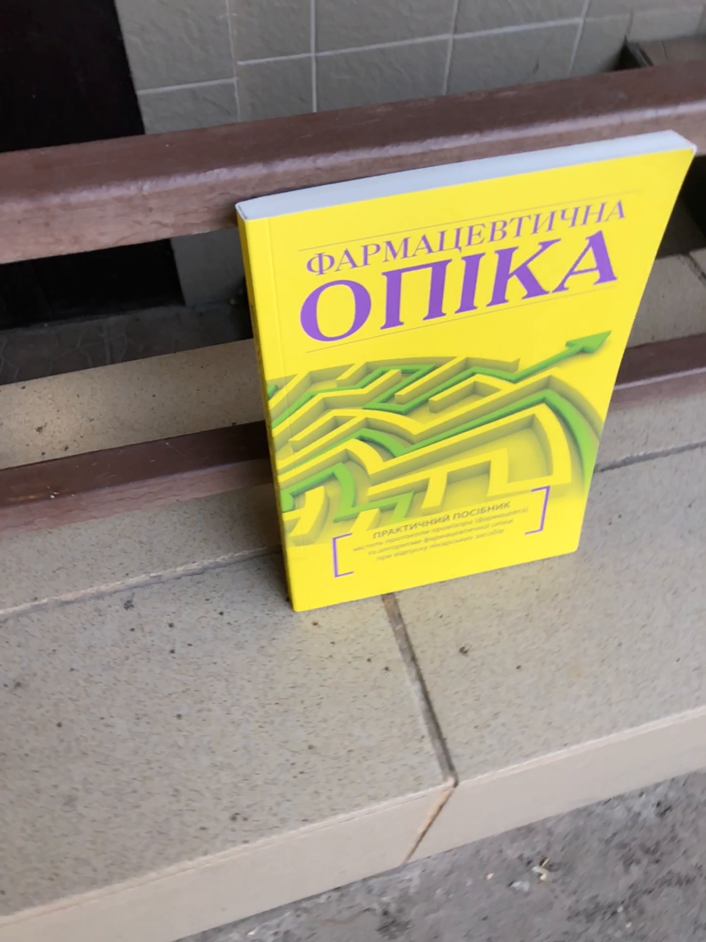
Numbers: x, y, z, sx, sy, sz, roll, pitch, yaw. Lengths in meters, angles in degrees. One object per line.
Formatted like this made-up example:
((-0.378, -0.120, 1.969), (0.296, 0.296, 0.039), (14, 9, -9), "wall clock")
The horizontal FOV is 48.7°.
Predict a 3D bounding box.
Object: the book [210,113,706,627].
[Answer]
((0.046, -0.024, 0.353), (0.180, 0.239, 0.030), (-12, 50, -9), "book")
